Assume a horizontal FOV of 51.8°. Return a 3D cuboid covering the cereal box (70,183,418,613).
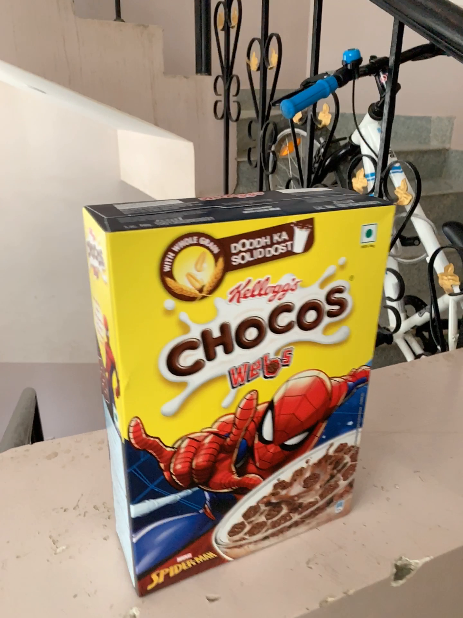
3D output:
[{"bbox_3d":[0.009,0.052,0.324,0.190,0.248,0.070,-10,25,-23],"label":"cereal box"}]
